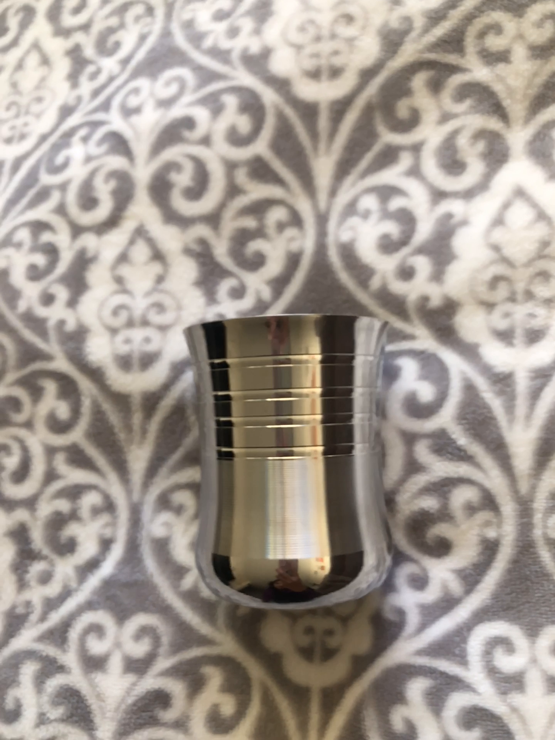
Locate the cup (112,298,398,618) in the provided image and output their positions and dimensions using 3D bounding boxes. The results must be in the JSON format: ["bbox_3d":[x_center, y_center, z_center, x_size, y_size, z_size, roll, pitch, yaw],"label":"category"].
[{"bbox_3d":[-0.003,0.029,0.212,0.077,0.066,0.086,-3,81,15],"label":"cup"}]
